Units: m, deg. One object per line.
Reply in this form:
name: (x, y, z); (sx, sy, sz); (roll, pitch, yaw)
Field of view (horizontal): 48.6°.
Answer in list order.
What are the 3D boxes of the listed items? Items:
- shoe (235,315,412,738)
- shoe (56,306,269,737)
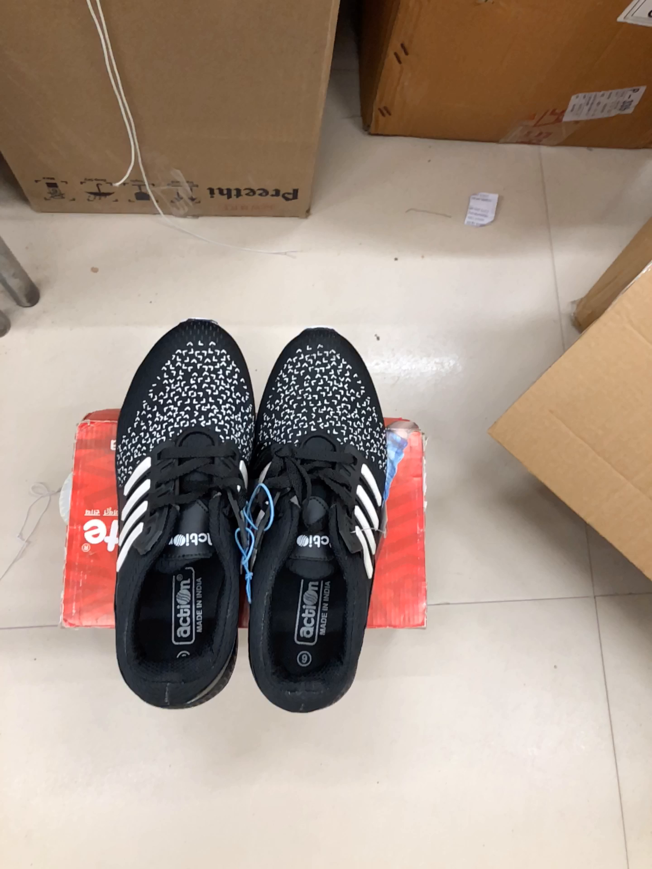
shoe: (-0.002, 0.063, 0.515); (0.101, 0.103, 0.267); (4, 77, -5)
shoe: (-0.103, 0.059, 0.505); (0.111, 0.103, 0.267); (3, 77, -5)
